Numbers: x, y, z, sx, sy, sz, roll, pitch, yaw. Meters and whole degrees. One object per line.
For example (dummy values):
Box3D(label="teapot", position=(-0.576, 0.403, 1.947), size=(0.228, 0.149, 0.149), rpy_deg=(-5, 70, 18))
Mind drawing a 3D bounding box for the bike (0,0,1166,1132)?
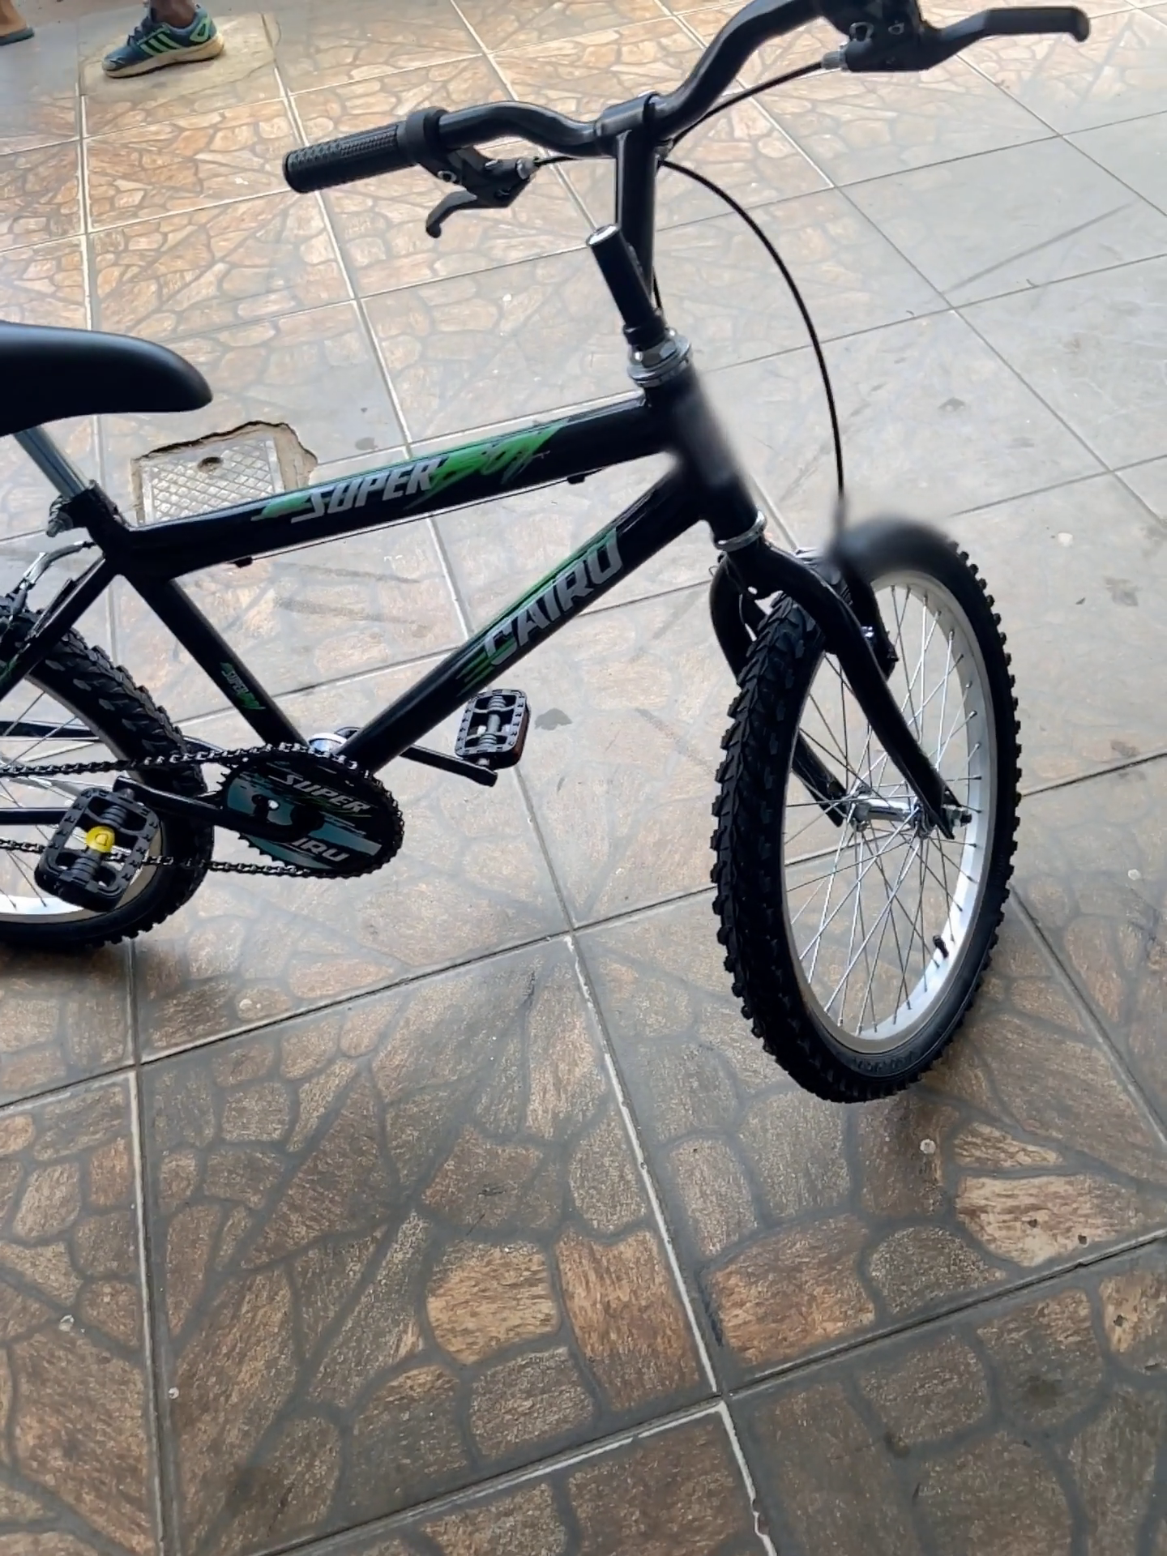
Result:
Box3D(label="bike", position=(-0.246, -0.197, 1.020), size=(1.269, 0.935, 0.601), rpy_deg=(-3, 54, 1))
